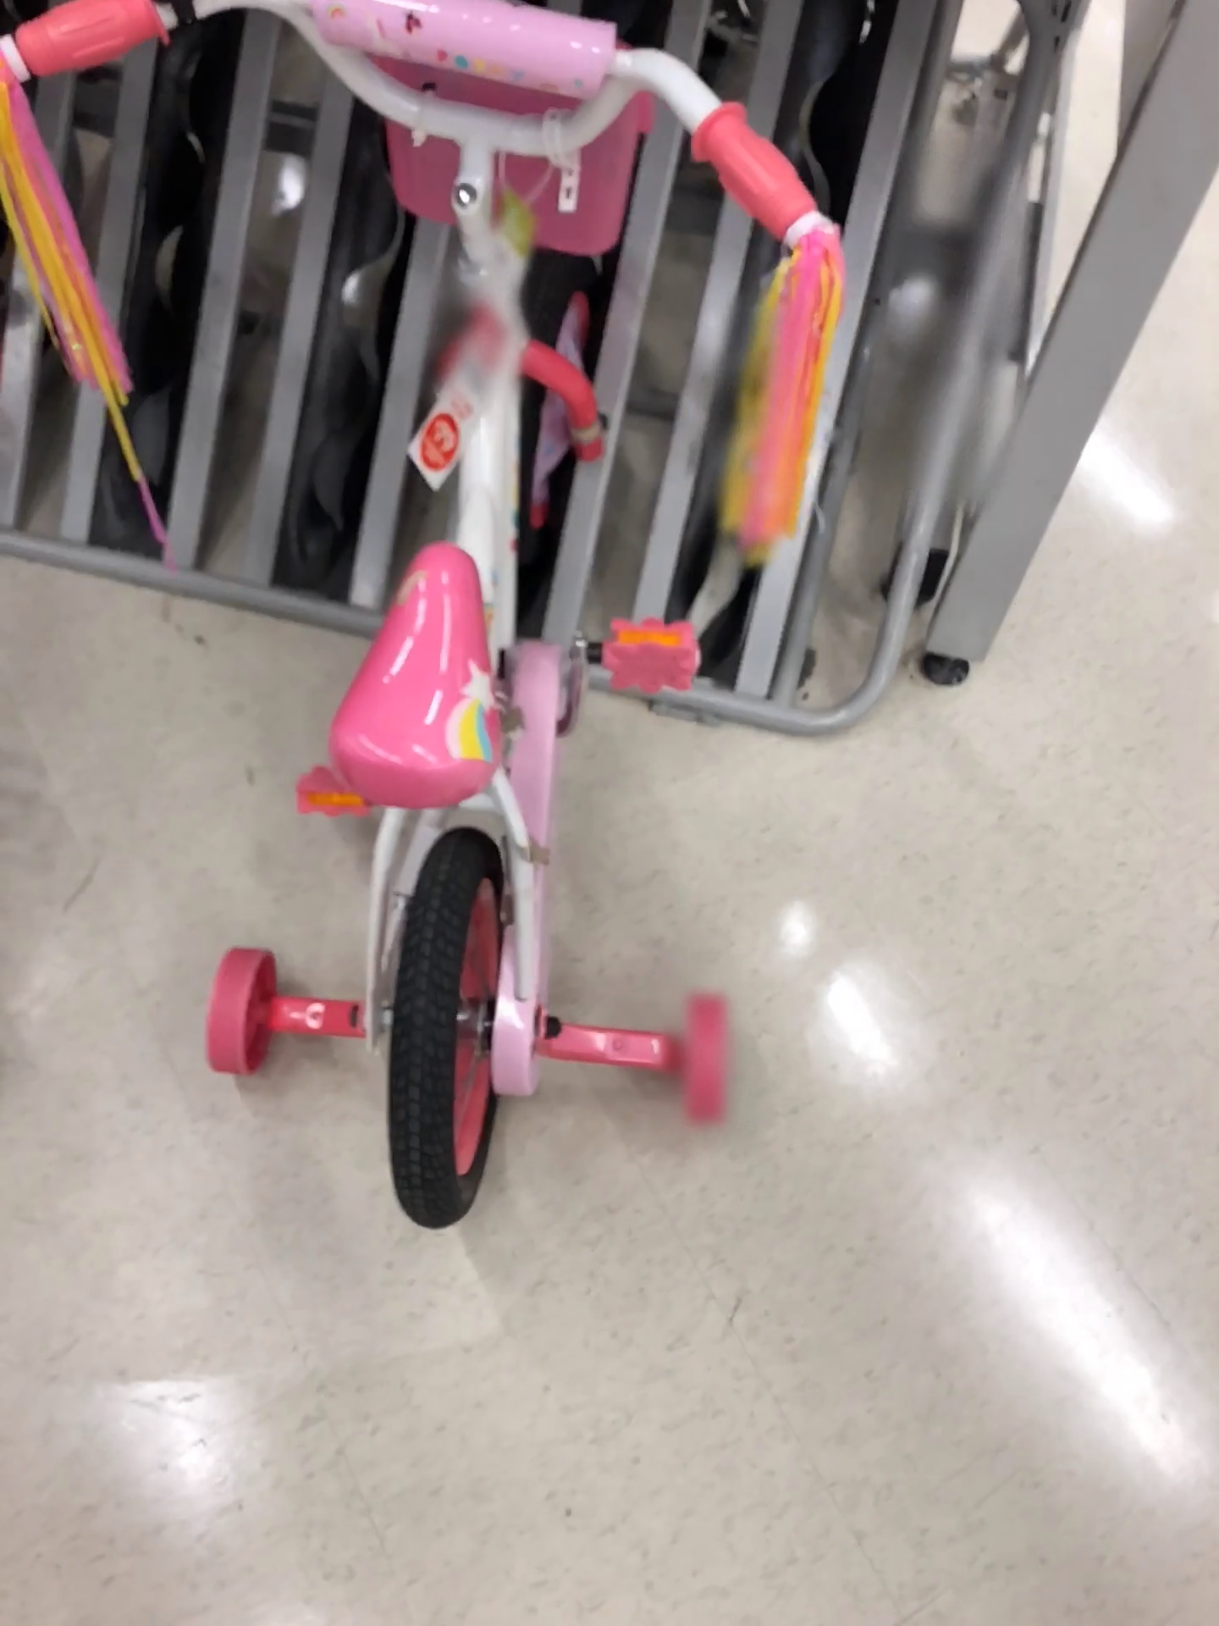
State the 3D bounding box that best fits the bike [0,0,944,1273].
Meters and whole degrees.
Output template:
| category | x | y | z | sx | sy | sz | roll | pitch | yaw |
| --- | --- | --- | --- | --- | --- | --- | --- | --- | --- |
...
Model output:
| category | x | y | z | sx | sy | sz | roll | pitch | yaw |
| --- | --- | --- | --- | --- | --- | --- | --- | --- | --- |
| bike | -0.104 | -0.234 | 0.981 | 0.515 | 0.592 | 0.946 | 5 | 62 | 1 |
